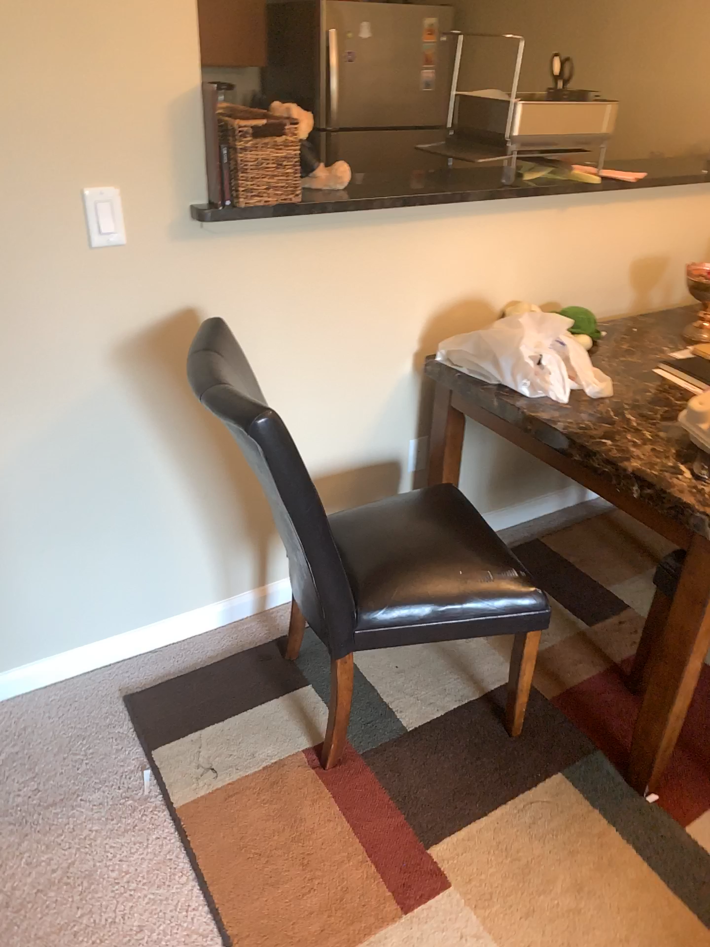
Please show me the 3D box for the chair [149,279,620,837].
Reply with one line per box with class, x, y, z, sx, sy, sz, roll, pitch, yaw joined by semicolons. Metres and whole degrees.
chair;-0.015;0.121;1.773;0.730;0.925;0.815;-10;32;-21
